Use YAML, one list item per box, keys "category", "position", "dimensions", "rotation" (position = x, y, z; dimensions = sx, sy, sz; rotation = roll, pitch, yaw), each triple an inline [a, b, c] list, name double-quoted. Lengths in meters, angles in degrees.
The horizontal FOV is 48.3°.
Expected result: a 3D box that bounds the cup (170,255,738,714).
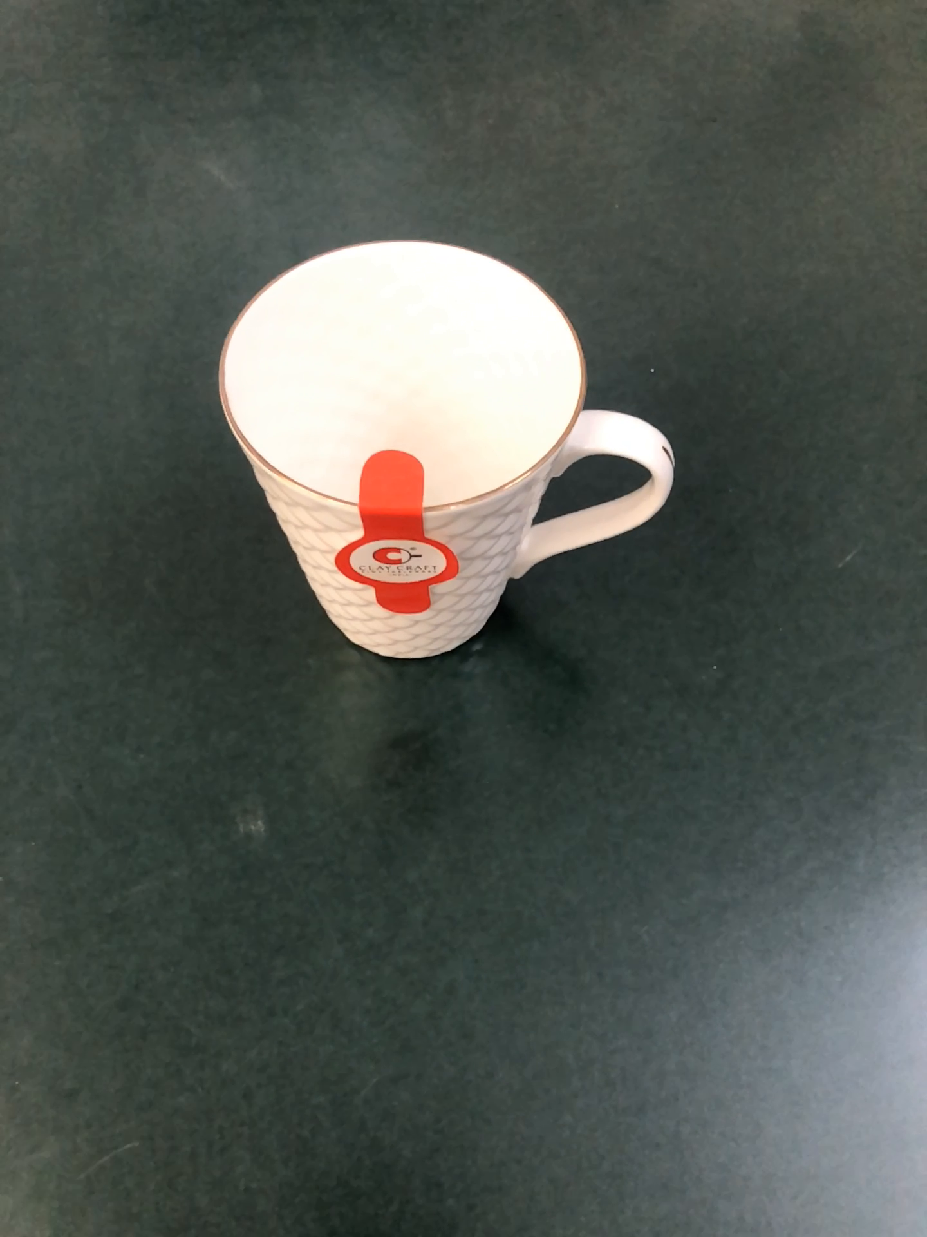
- category: "cup"
  position: [-0.002, -0.032, 0.278]
  dimensions: [0.120, 0.090, 0.080]
  rotation: [2, 60, 0]
